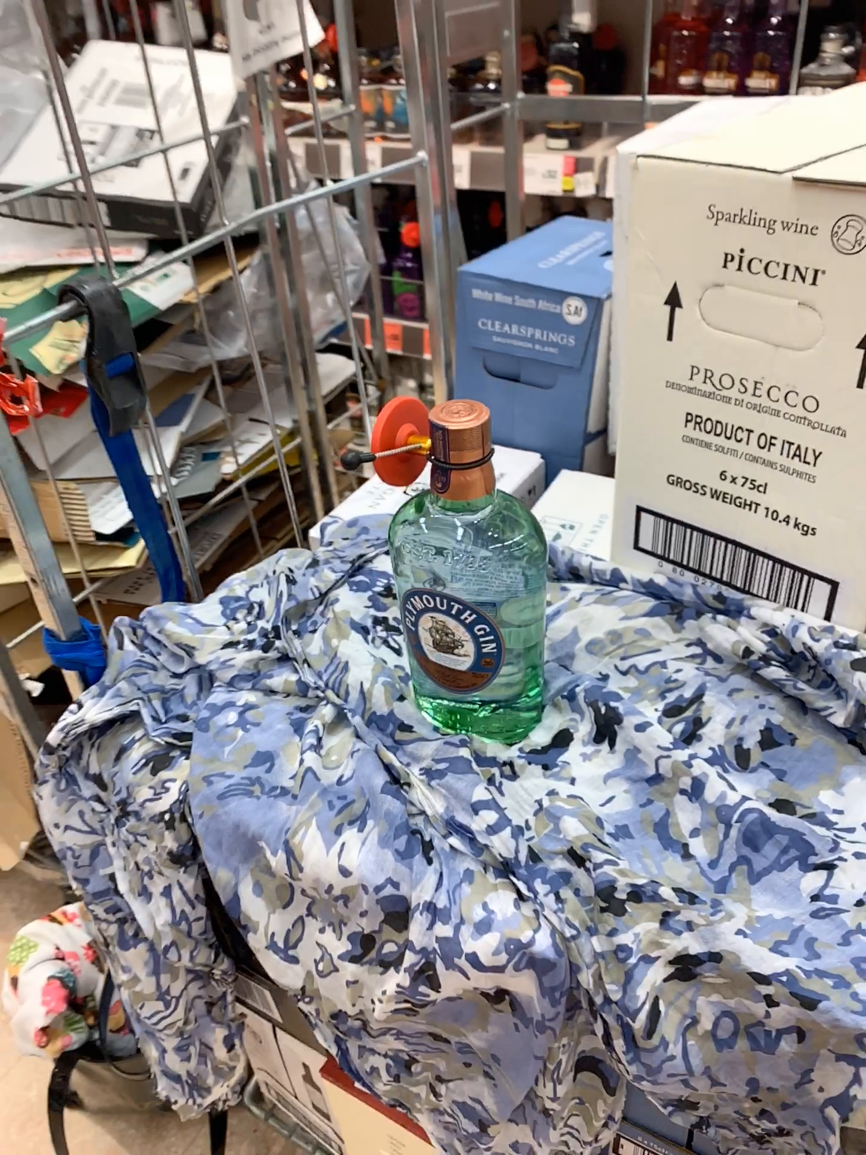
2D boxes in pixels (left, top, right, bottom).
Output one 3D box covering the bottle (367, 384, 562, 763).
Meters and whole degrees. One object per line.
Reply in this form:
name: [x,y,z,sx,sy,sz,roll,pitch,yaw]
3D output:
bottle: [0.024,0.002,0.568,0.094,0.228,0.058,17,40,27]
